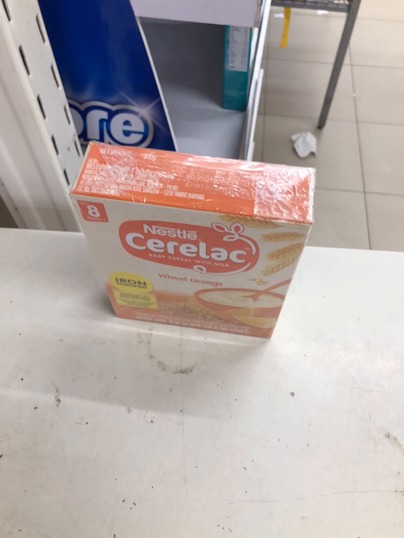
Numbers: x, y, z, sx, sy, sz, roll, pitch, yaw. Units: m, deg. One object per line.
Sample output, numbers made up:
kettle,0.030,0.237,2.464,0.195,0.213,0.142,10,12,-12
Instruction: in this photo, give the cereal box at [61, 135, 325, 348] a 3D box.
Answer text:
cereal box,-0.004,-0.007,0.368,0.160,0.199,0.050,8,60,4
